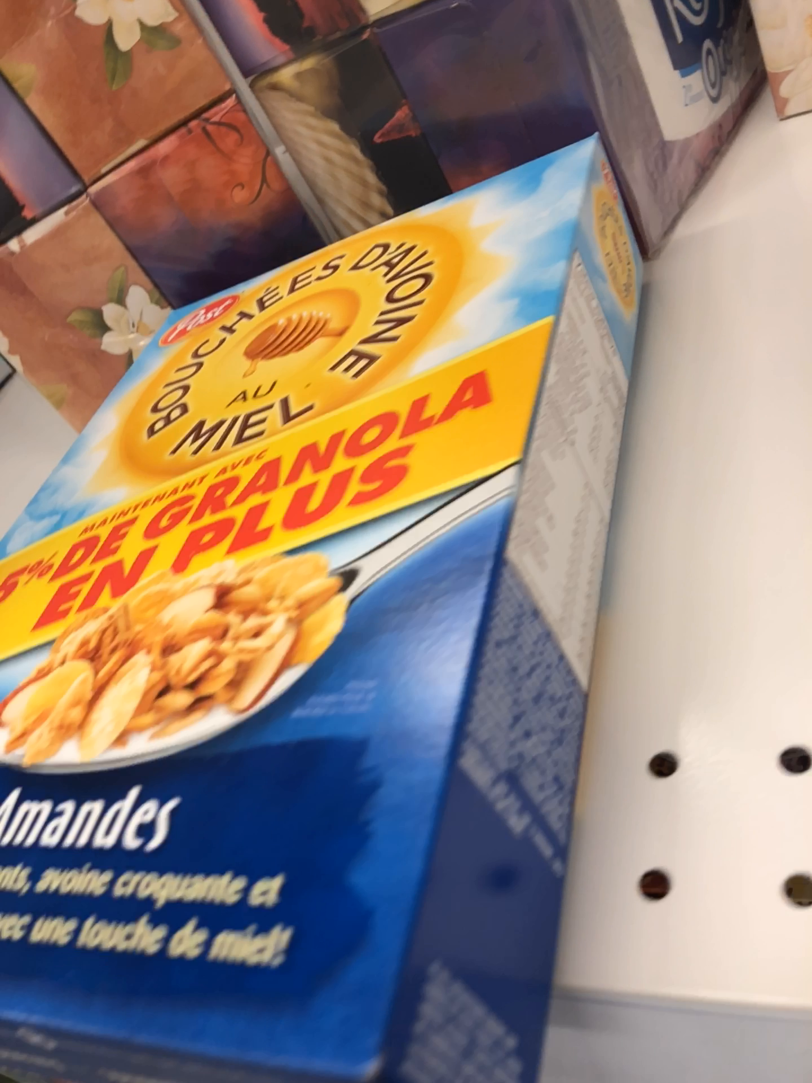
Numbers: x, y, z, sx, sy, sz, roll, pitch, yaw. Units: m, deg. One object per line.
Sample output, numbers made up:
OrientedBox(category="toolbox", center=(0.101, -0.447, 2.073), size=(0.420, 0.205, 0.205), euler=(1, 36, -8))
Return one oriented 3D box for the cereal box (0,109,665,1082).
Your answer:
OrientedBox(category="cereal box", center=(-0.048, -0.001, 0.256), size=(0.211, 0.050, 0.270), euler=(-10, 42, 30))
